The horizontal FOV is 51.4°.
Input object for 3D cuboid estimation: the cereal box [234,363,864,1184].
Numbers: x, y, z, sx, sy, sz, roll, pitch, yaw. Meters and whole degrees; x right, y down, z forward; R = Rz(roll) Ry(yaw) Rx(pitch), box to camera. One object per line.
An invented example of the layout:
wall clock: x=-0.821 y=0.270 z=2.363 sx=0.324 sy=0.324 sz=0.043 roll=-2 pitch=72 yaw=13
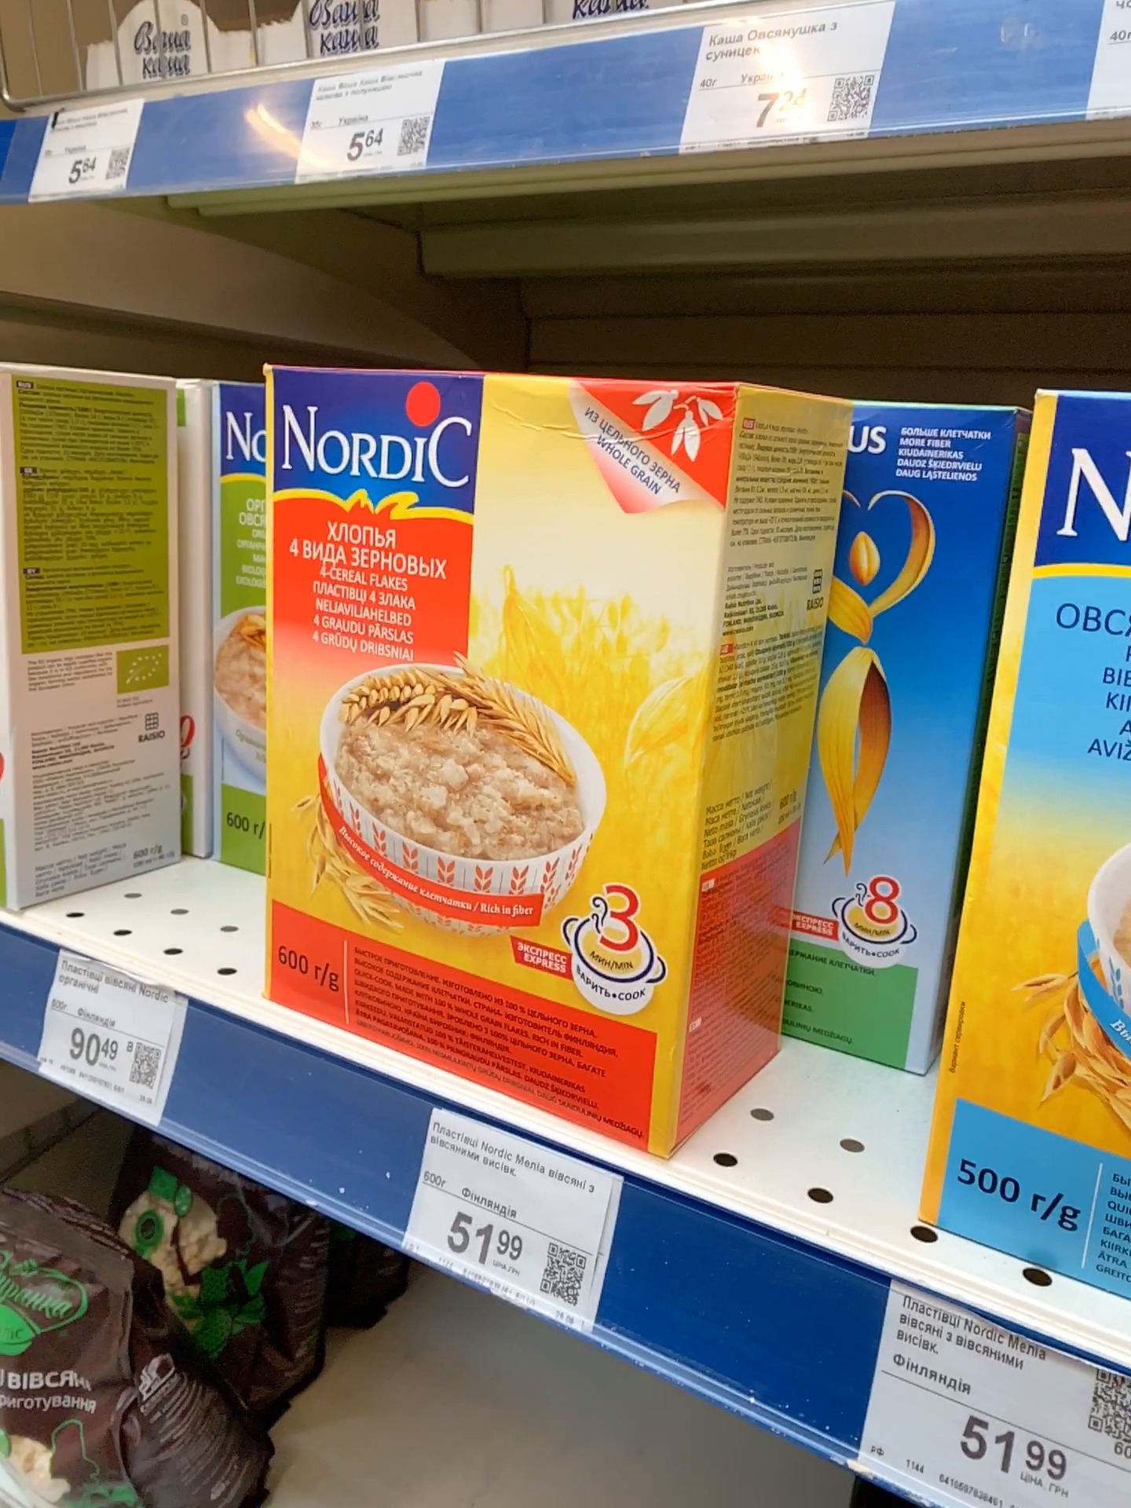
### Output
cereal box: x=-0.012 y=-0.008 z=0.336 sx=0.150 sy=0.189 sz=0.080 roll=12 pitch=16 yaw=32
